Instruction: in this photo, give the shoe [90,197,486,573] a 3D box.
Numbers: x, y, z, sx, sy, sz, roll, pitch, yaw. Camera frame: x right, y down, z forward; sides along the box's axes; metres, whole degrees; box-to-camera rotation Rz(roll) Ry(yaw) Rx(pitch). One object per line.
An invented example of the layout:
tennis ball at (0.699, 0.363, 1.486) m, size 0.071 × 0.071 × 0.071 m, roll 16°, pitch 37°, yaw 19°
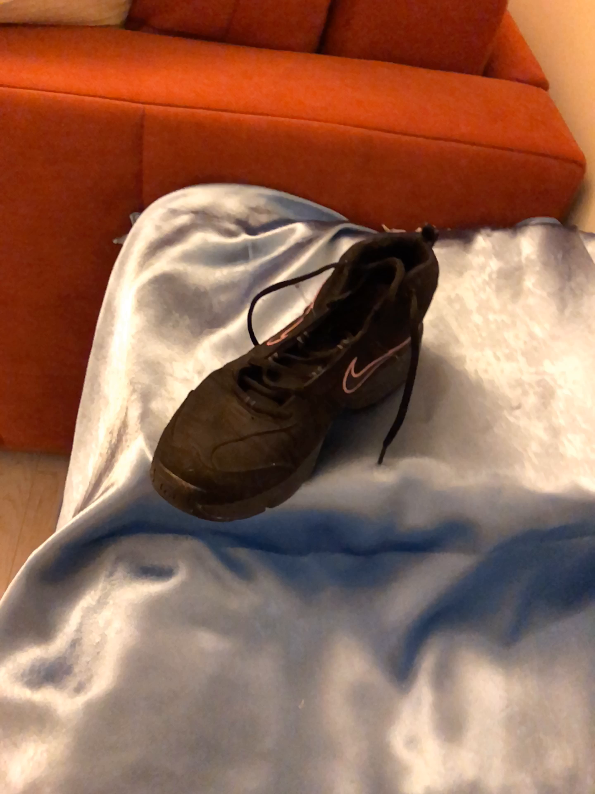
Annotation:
shoe at (0.003, -0.023, 0.454) m, size 0.107 × 0.099 × 0.261 m, roll 38°, pitch 55°, yaw 19°
